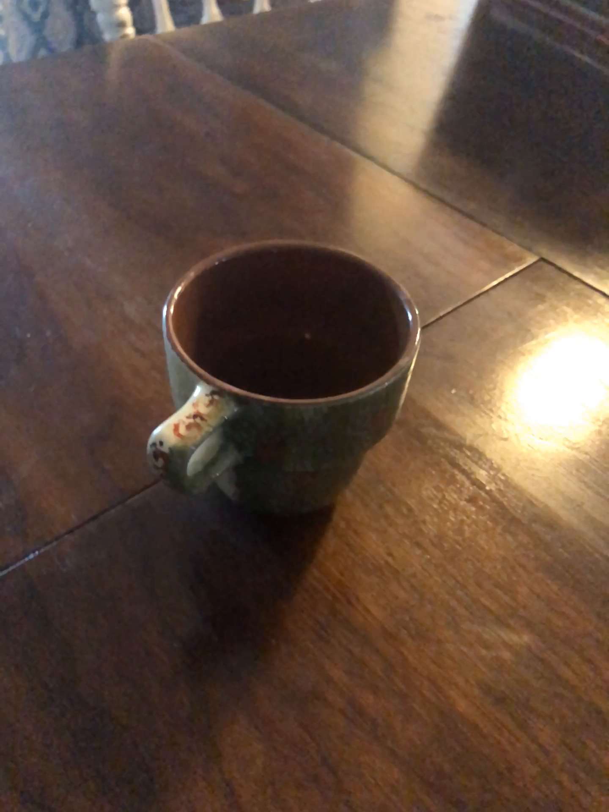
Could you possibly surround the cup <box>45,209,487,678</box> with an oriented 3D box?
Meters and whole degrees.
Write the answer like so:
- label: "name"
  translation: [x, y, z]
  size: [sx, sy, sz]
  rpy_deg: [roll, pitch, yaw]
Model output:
- label: "cup"
  translation: [-0.011, 0.010, 0.286]
  size: [0.100, 0.110, 0.130]
  rpy_deg: [30, 51, 22]
